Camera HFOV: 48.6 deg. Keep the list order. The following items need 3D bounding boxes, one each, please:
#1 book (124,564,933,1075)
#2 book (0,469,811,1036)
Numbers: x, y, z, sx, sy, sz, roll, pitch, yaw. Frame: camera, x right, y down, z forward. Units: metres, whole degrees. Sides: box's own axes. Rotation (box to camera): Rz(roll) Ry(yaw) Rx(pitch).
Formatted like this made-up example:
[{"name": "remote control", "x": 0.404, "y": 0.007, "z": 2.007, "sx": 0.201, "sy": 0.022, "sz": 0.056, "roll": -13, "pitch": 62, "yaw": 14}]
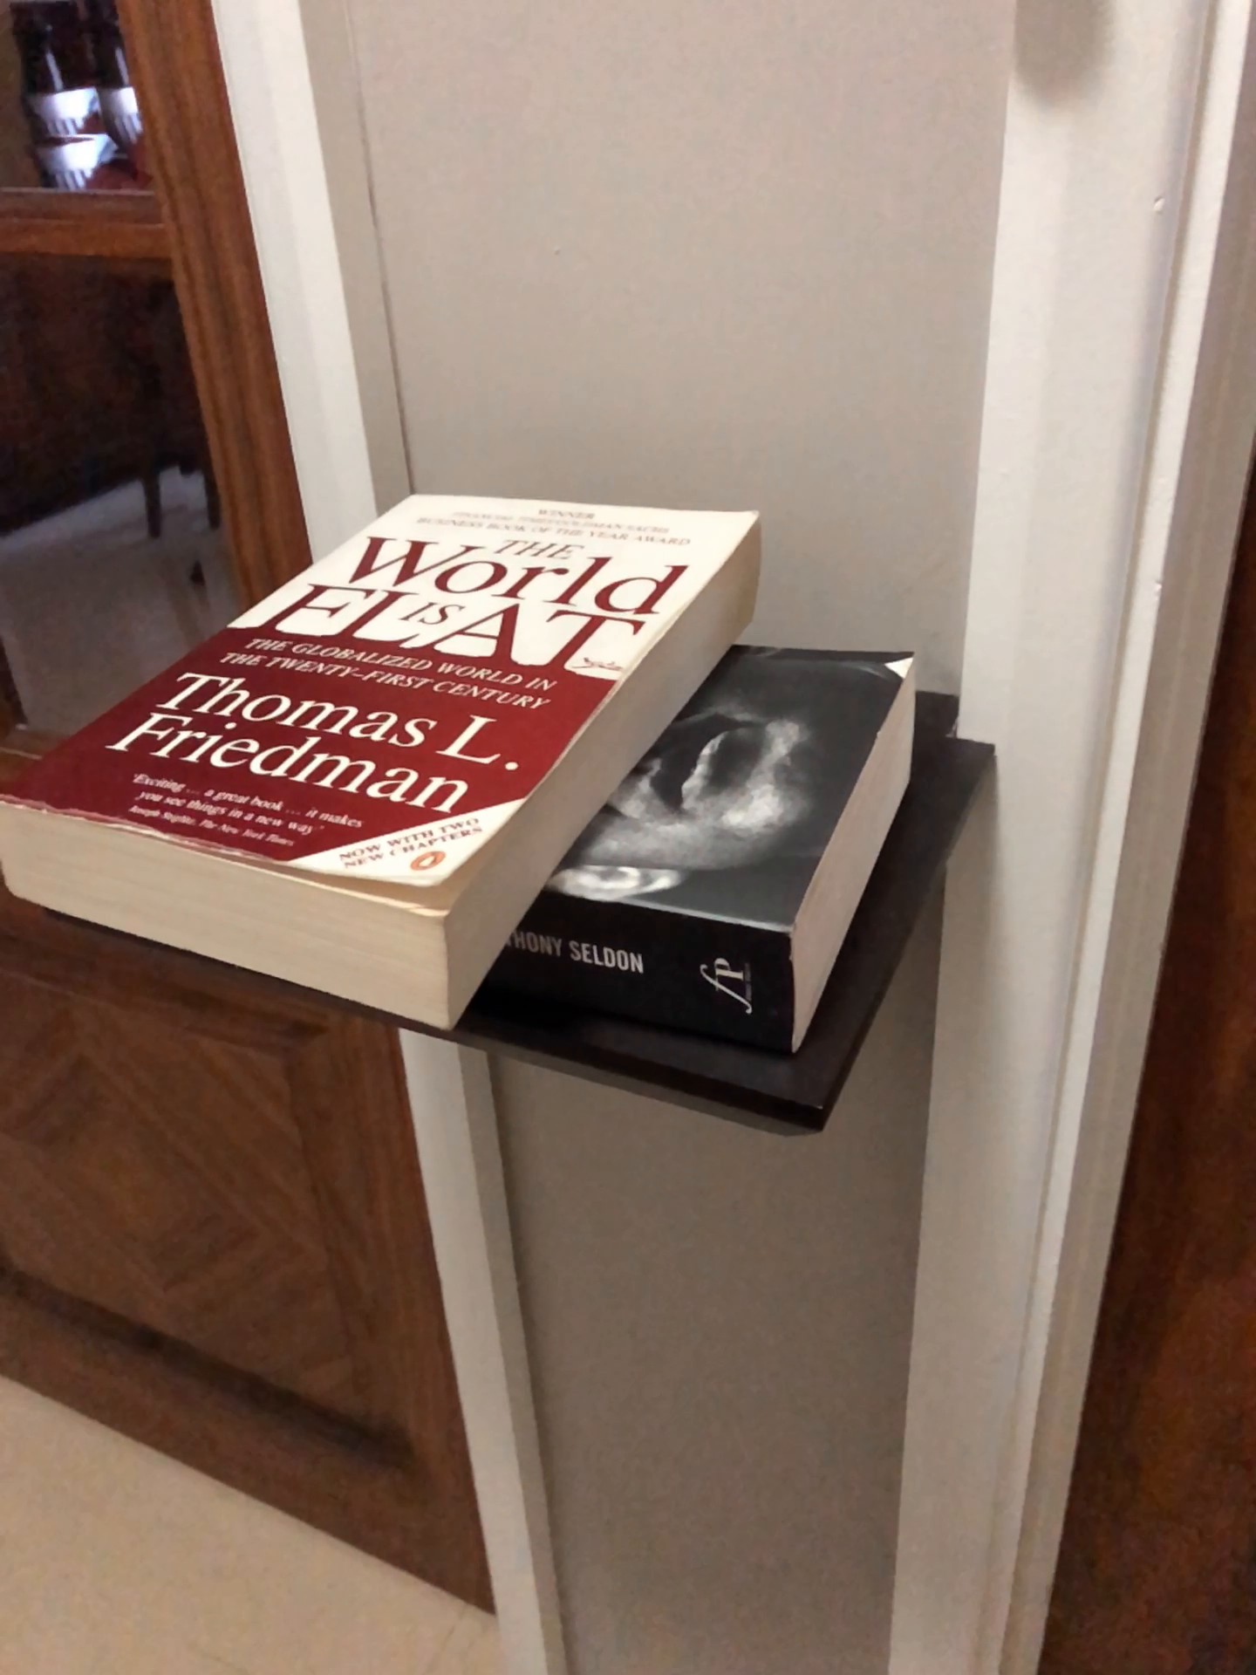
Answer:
[{"name": "book", "x": -0.022, "y": -0.018, "z": 0.427, "sx": 0.200, "sy": 0.040, "sz": 0.151, "roll": 10, "pitch": 43, "yaw": 18}, {"name": "book", "x": -0.053, "y": -0.043, "z": 0.384, "sx": 0.140, "sy": 0.040, "sz": 0.211, "roll": 10, "pitch": 37, "yaw": 25}]
